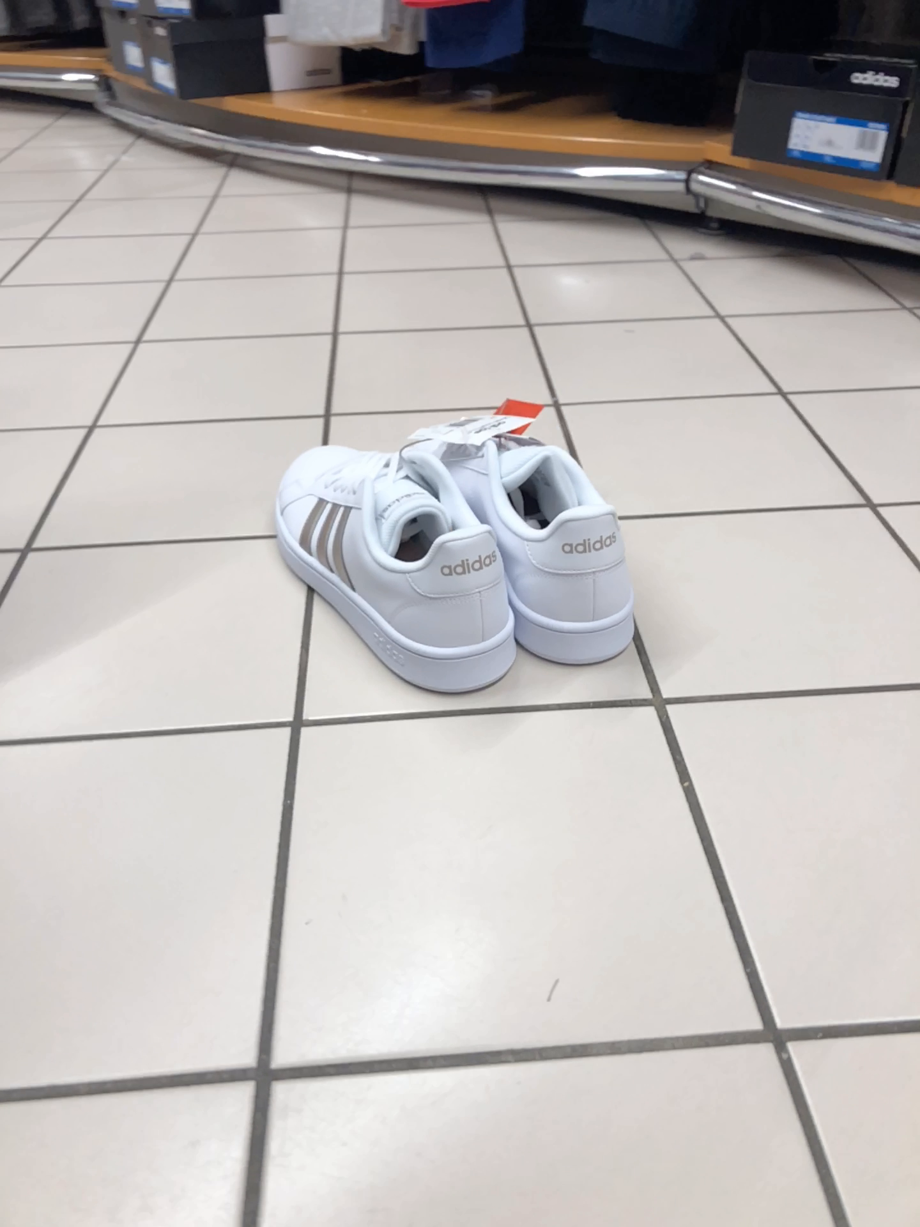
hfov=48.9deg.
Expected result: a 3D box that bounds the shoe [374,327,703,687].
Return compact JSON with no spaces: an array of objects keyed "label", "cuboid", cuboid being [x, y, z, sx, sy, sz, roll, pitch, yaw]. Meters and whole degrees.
[{"label":"shoe","cuboid":[0.035,-0.086,0.660,0.100,0.099,0.281,-13,37,-16]}]

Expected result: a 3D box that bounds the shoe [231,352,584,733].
[{"label":"shoe","cuboid":[-0.045,-0.062,0.636,0.100,0.099,0.281,-18,39,-22]}]
